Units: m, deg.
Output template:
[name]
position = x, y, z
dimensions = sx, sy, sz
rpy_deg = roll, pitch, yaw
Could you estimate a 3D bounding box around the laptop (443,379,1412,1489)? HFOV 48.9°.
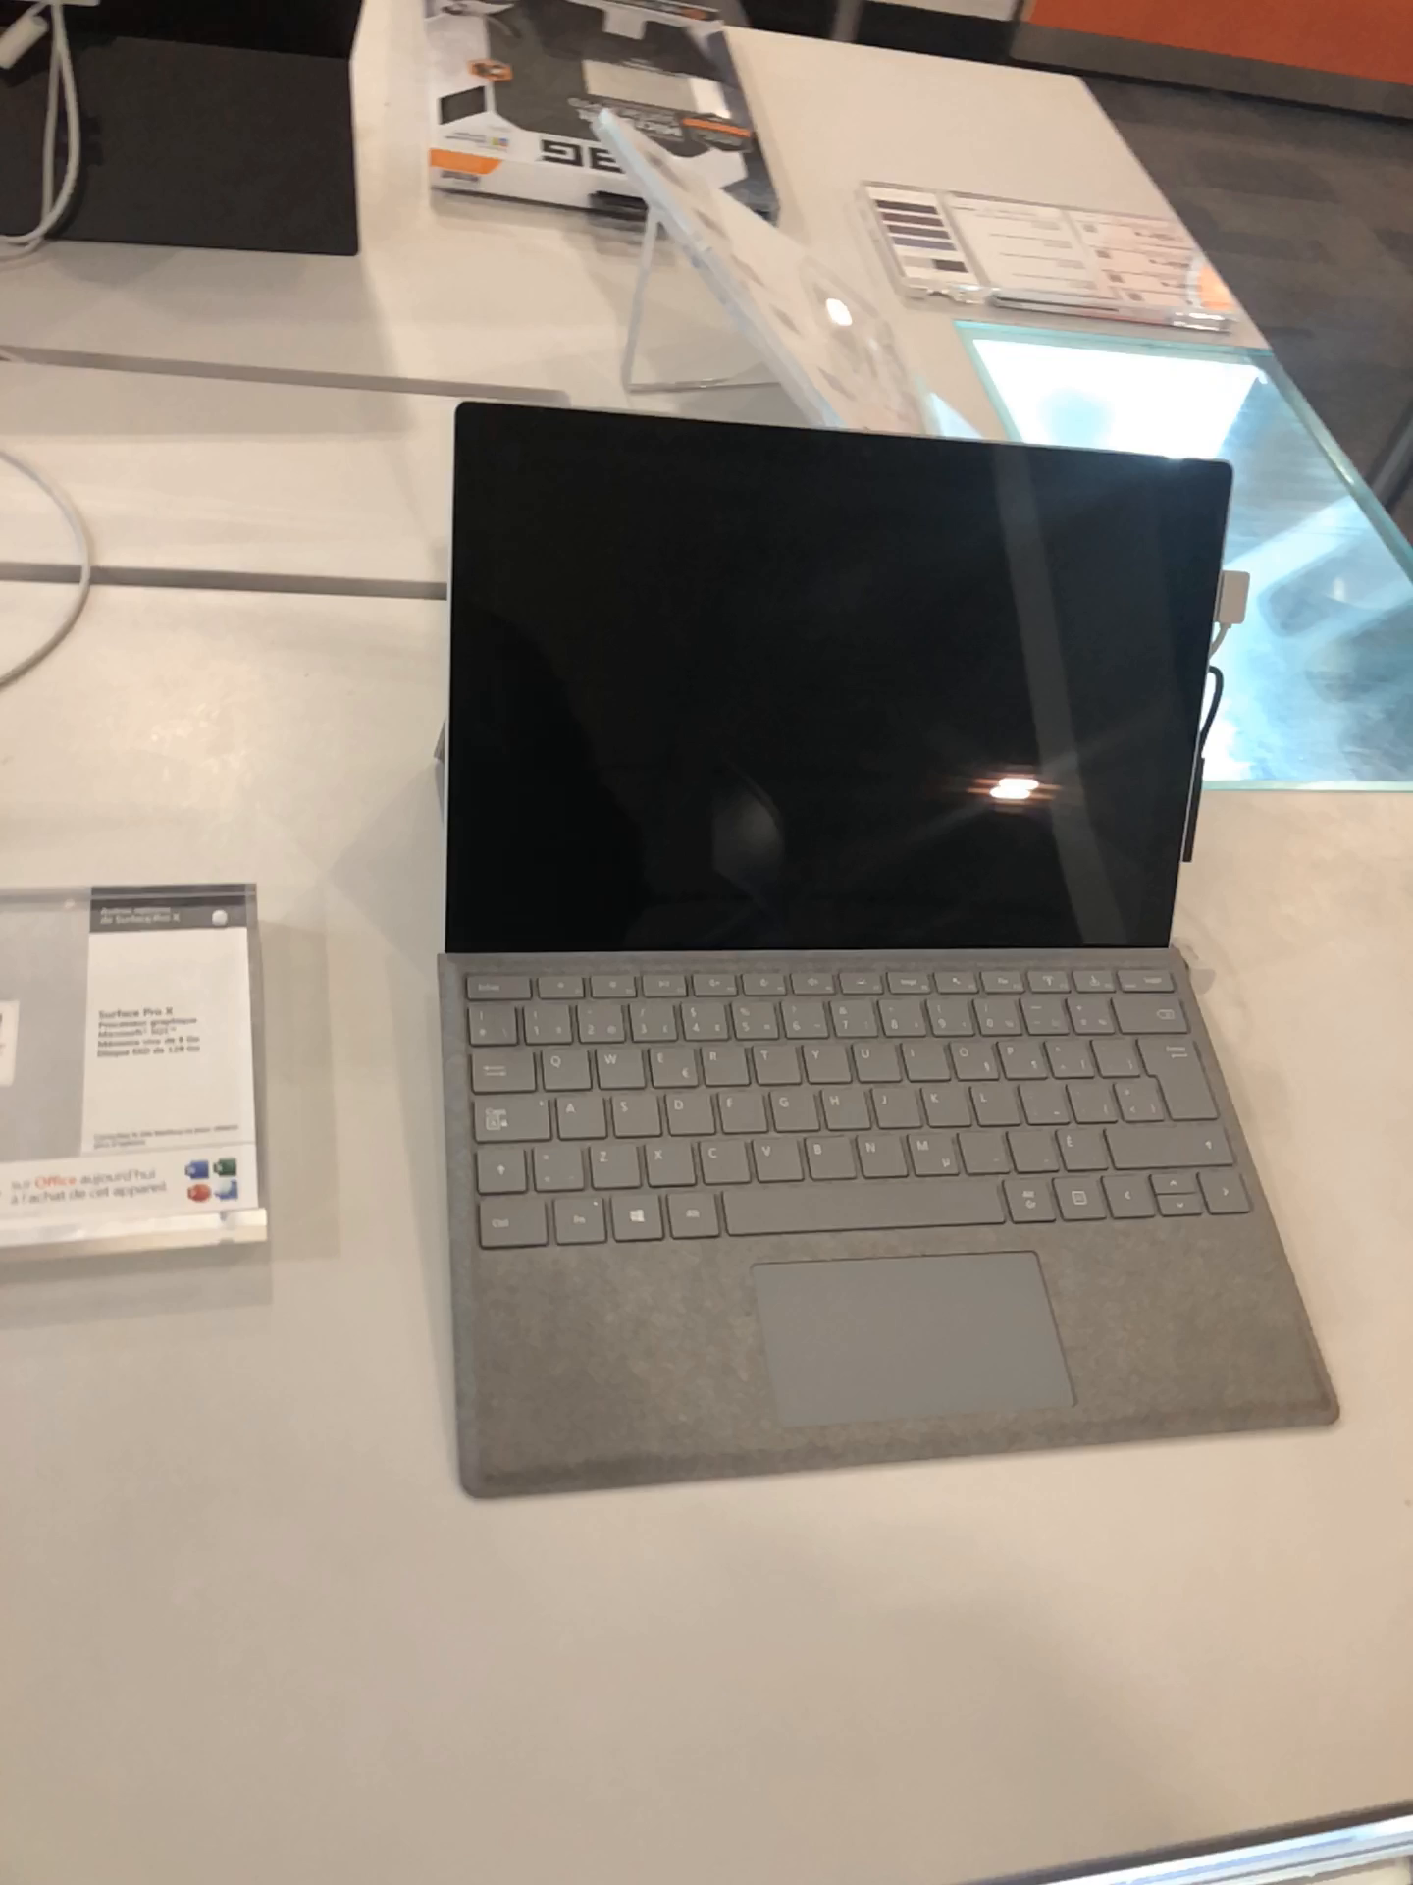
[laptop]
position = 0.064, -0.014, 0.508
dimensions = 0.279, 0.147, 0.298
rpy_deg = 0, 54, -14
